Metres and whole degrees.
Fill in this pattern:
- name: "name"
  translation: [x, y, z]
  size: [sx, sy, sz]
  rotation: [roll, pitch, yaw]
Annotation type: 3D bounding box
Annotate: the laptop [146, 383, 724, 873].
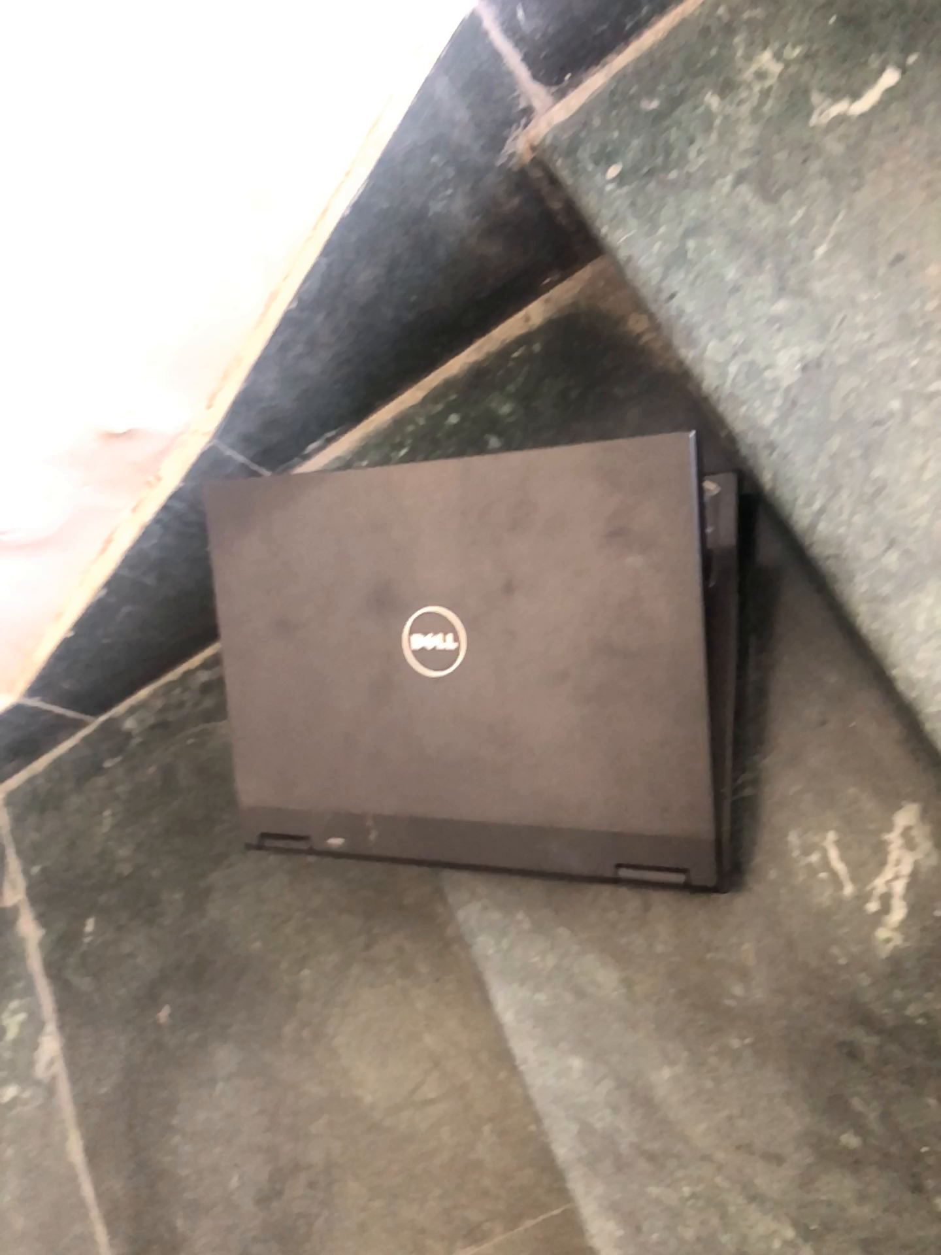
- name: "laptop"
  translation: [-0.019, 0.005, 0.592]
  size: [0.303, 0.095, 0.232]
  rotation: [-2, 75, 26]
